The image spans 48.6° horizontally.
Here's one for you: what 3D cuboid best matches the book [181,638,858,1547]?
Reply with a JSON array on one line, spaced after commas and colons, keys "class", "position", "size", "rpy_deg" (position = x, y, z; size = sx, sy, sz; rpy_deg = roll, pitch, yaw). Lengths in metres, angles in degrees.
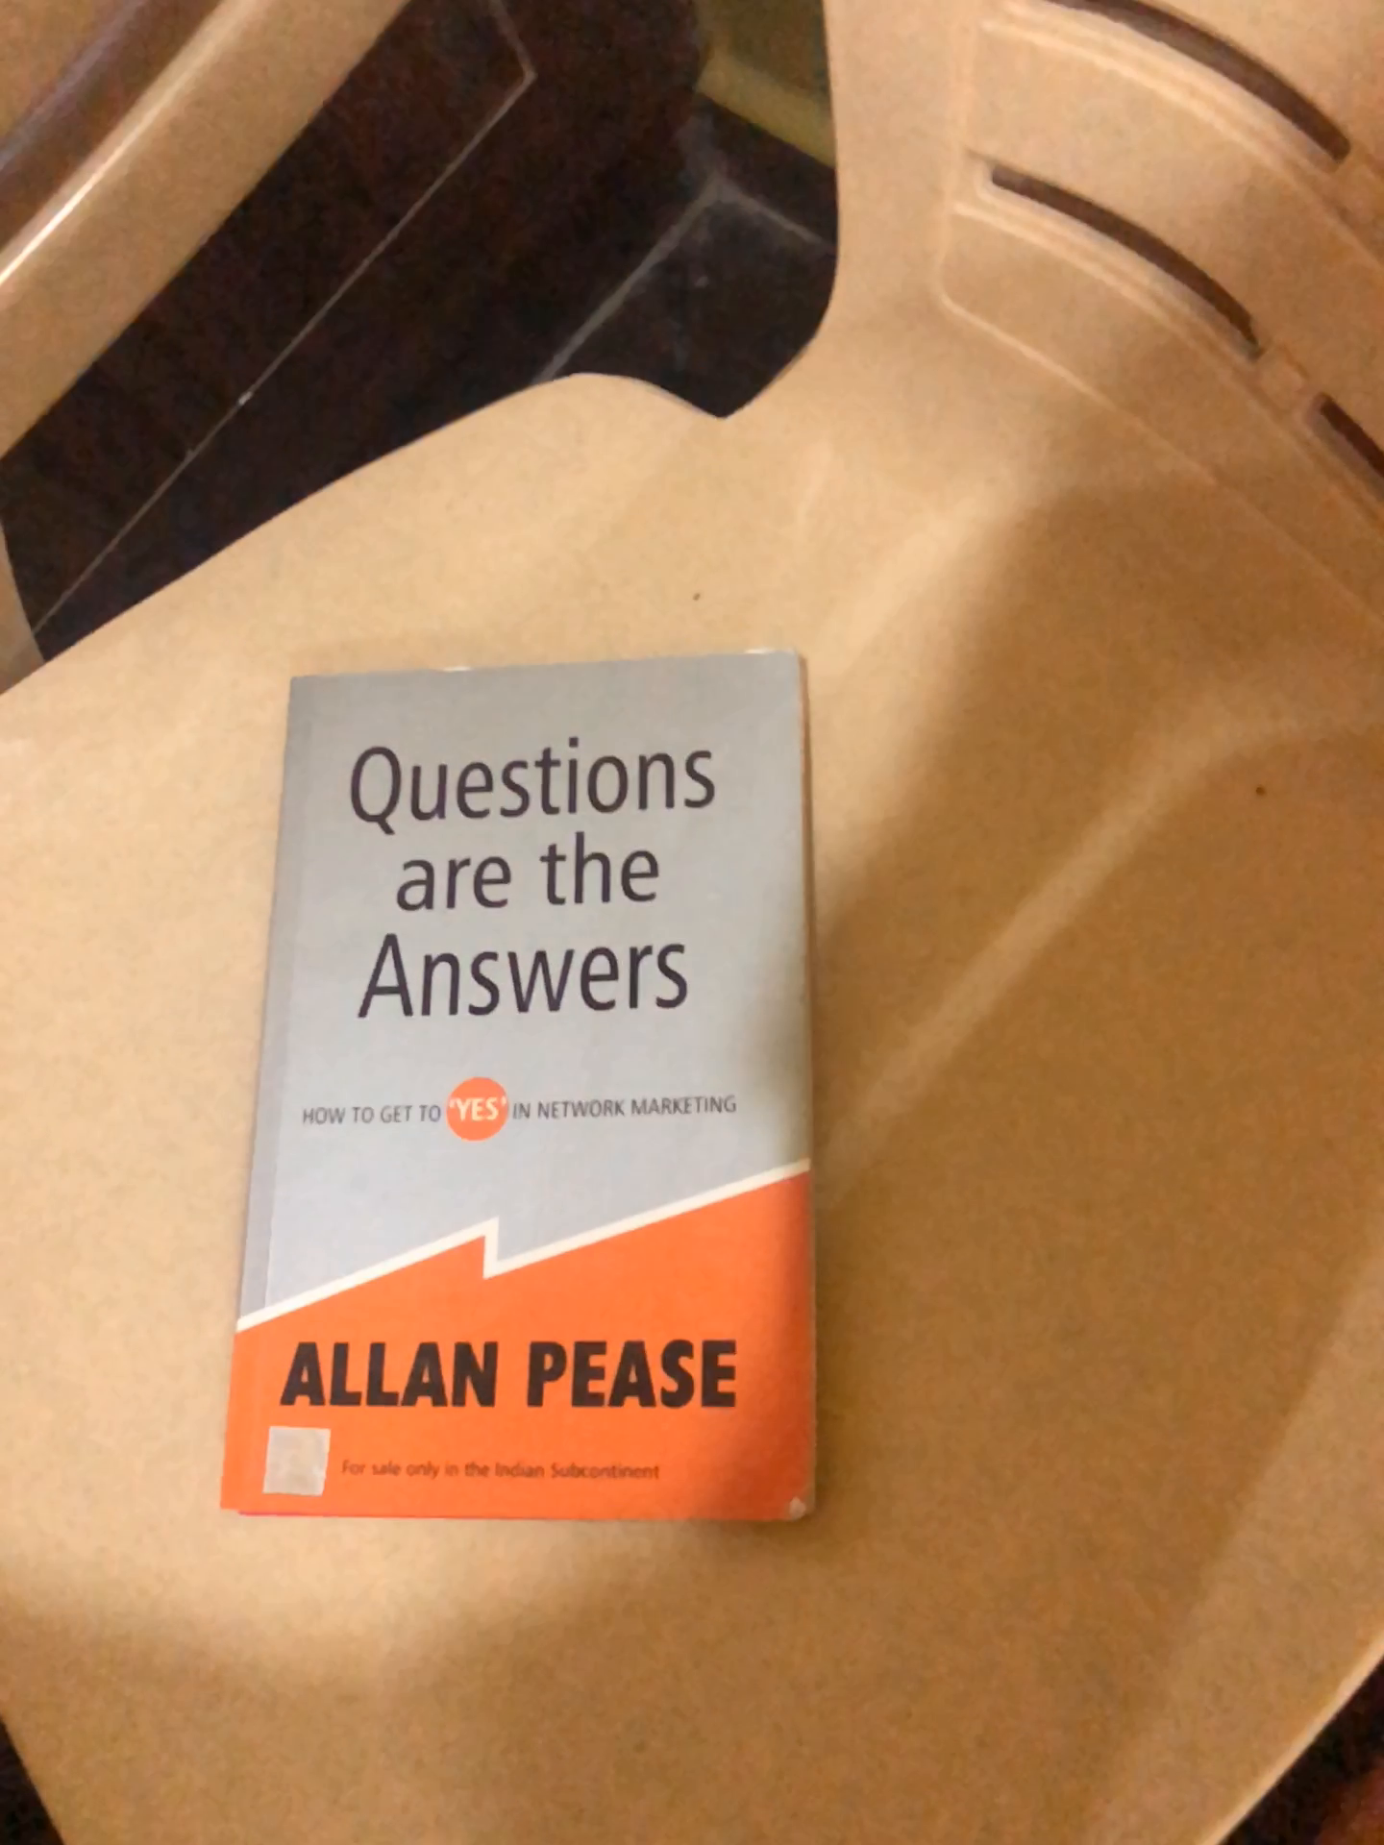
[{"class": "book", "position": [-0.039, 0.036, 0.372], "size": [0.150, 0.020, 0.210], "rpy_deg": [-3, 73, 10]}]
